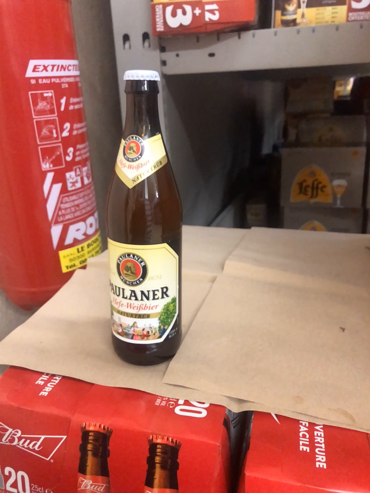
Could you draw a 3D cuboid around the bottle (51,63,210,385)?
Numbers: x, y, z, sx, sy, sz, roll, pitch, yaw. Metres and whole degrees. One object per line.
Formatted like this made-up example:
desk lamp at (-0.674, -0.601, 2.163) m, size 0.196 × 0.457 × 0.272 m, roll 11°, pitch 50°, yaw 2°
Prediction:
bottle at (-0.036, -0.019, 0.345) m, size 0.080 × 0.239 × 0.080 m, roll -2°, pitch 19°, yaw 1°
